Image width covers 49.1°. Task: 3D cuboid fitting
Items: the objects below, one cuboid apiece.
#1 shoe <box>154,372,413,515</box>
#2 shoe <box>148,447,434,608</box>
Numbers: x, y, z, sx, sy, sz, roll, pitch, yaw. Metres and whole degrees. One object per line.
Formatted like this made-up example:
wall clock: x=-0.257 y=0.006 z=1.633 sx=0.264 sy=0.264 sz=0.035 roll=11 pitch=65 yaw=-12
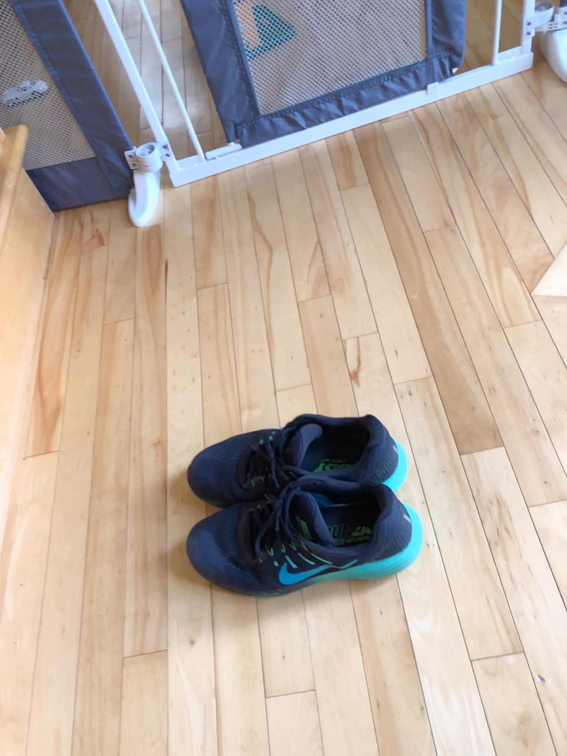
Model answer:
shoe: x=0.005 y=0.084 z=0.764 sx=0.290 sy=0.100 sz=0.120 roll=-6 pitch=54 yaw=11
shoe: x=0.010 y=0.171 z=0.696 sx=0.290 sy=0.100 sz=0.120 roll=-8 pitch=54 yaw=9
